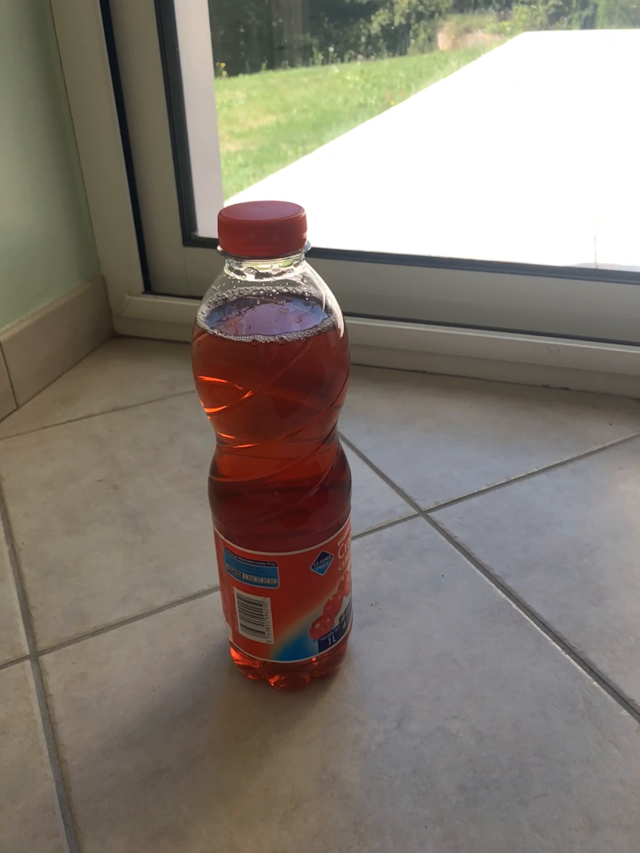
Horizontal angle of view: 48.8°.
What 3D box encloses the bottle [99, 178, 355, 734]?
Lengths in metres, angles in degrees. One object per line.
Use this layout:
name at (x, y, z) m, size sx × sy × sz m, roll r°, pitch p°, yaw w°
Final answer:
bottle at (-0.029, 0.022, 0.346) m, size 0.080 × 0.258 × 0.091 m, roll 4°, pitch 30°, yaw 9°
